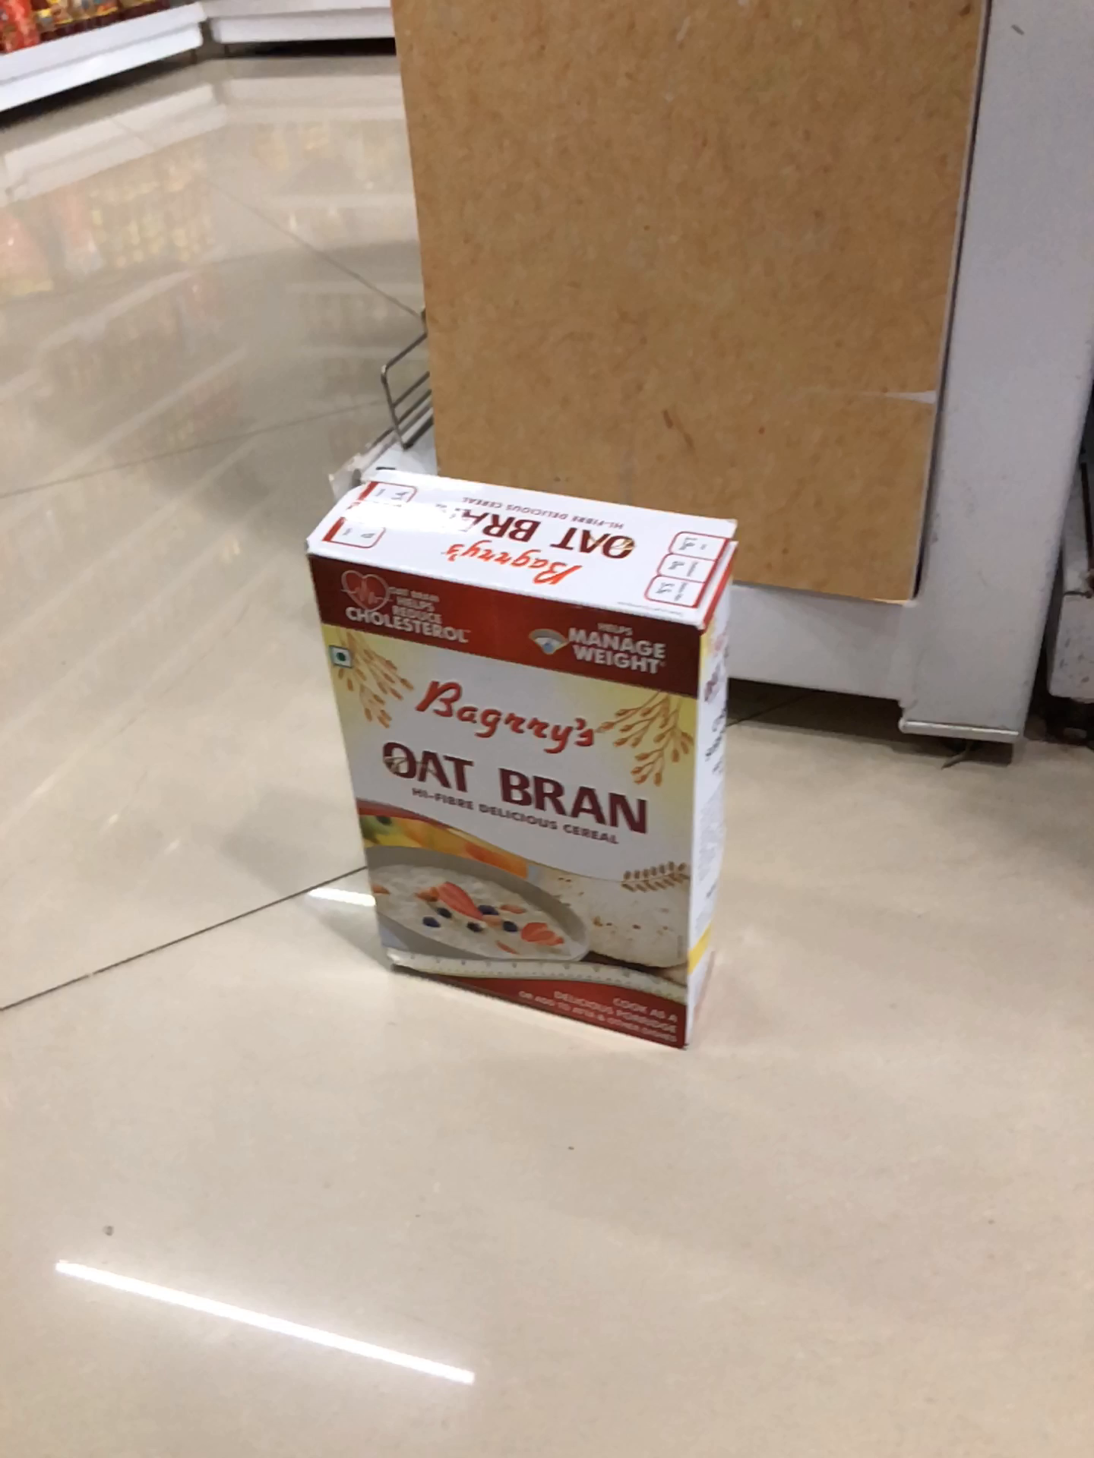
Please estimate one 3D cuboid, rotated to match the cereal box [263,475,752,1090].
[{"bbox_3d":[-0.007,0.023,0.457,0.150,0.209,0.060,13,39,23],"label":"cereal box"}]
